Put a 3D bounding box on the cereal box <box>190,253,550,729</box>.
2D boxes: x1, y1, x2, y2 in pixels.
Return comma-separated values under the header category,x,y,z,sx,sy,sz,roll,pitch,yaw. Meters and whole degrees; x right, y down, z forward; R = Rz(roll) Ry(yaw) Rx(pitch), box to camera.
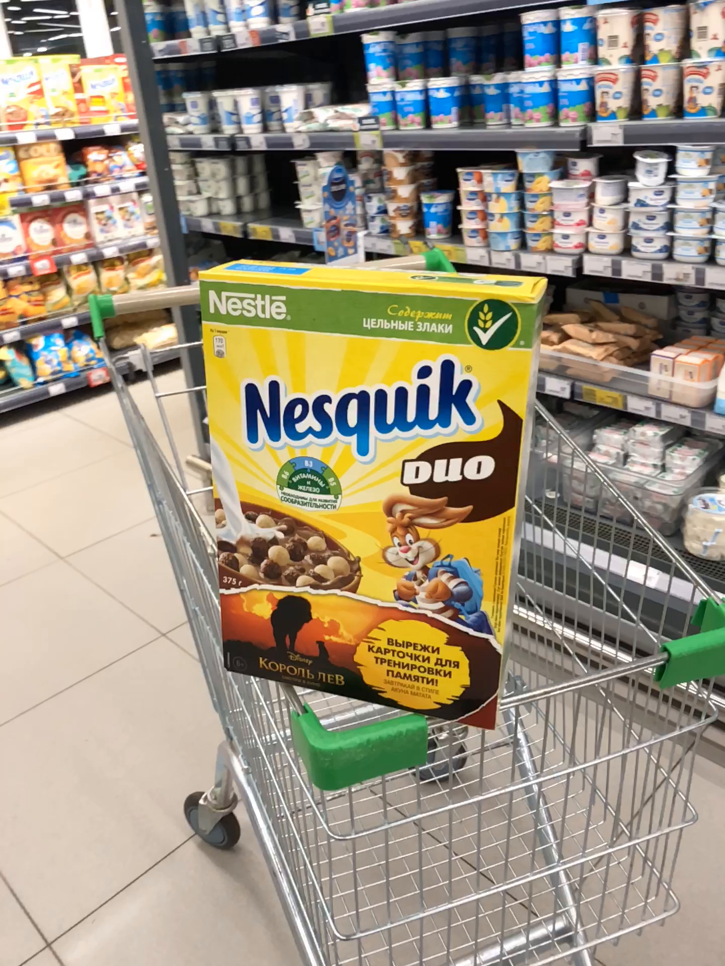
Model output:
category,x,y,z,sx,sy,sz,roll,pitch,yaw
cereal box,0.002,0.004,0.514,0.200,0.279,0.060,8,23,17
